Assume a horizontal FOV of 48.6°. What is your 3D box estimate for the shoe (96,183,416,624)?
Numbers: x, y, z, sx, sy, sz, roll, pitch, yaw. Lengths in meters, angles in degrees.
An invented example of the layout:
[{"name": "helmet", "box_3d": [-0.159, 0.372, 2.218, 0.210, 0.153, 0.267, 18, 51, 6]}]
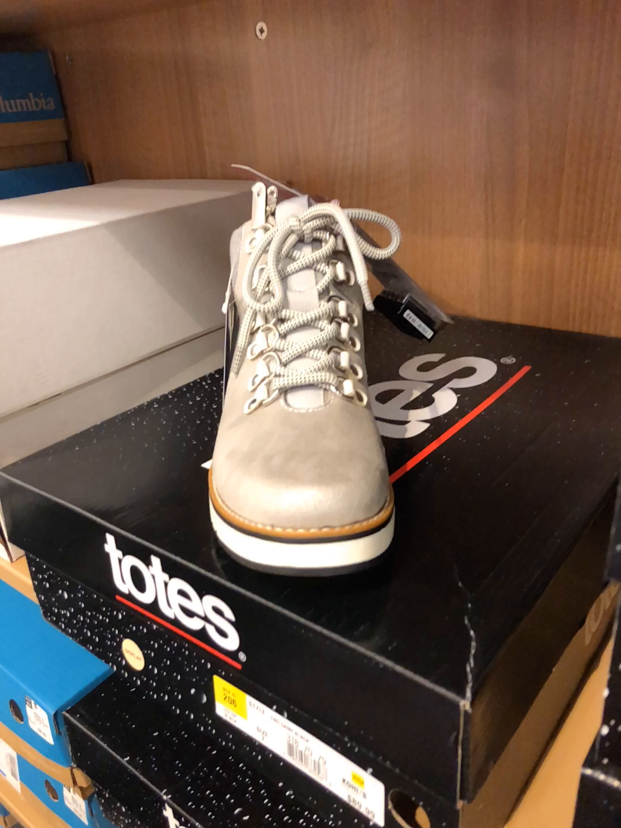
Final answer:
[{"name": "shoe", "box_3d": [-0.018, -0.030, 0.345, 0.099, 0.134, 0.229, -5, 24, -1]}]
